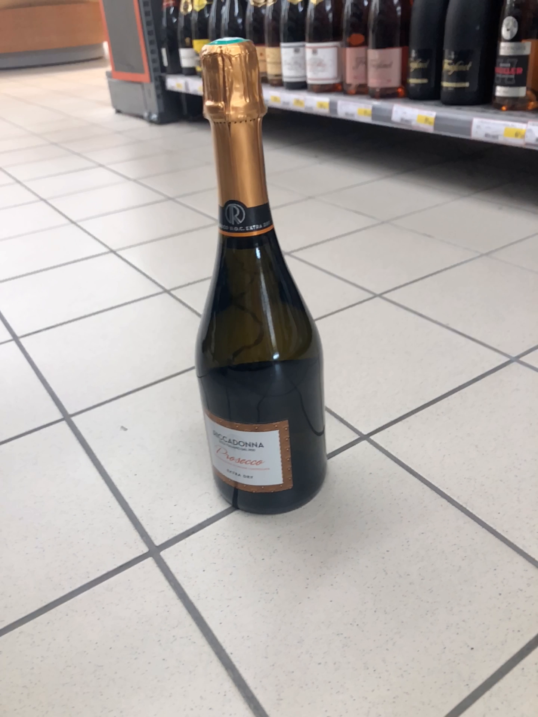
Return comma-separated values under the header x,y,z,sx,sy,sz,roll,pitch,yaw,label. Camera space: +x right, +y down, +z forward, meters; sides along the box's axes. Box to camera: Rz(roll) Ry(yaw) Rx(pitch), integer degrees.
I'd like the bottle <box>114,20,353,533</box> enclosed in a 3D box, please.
x,y,z,sx,sy,sz,roll,pitch,yaw,label
-0.005,-0.042,0.403,0.100,0.318,0.091,9,32,23,bottle
